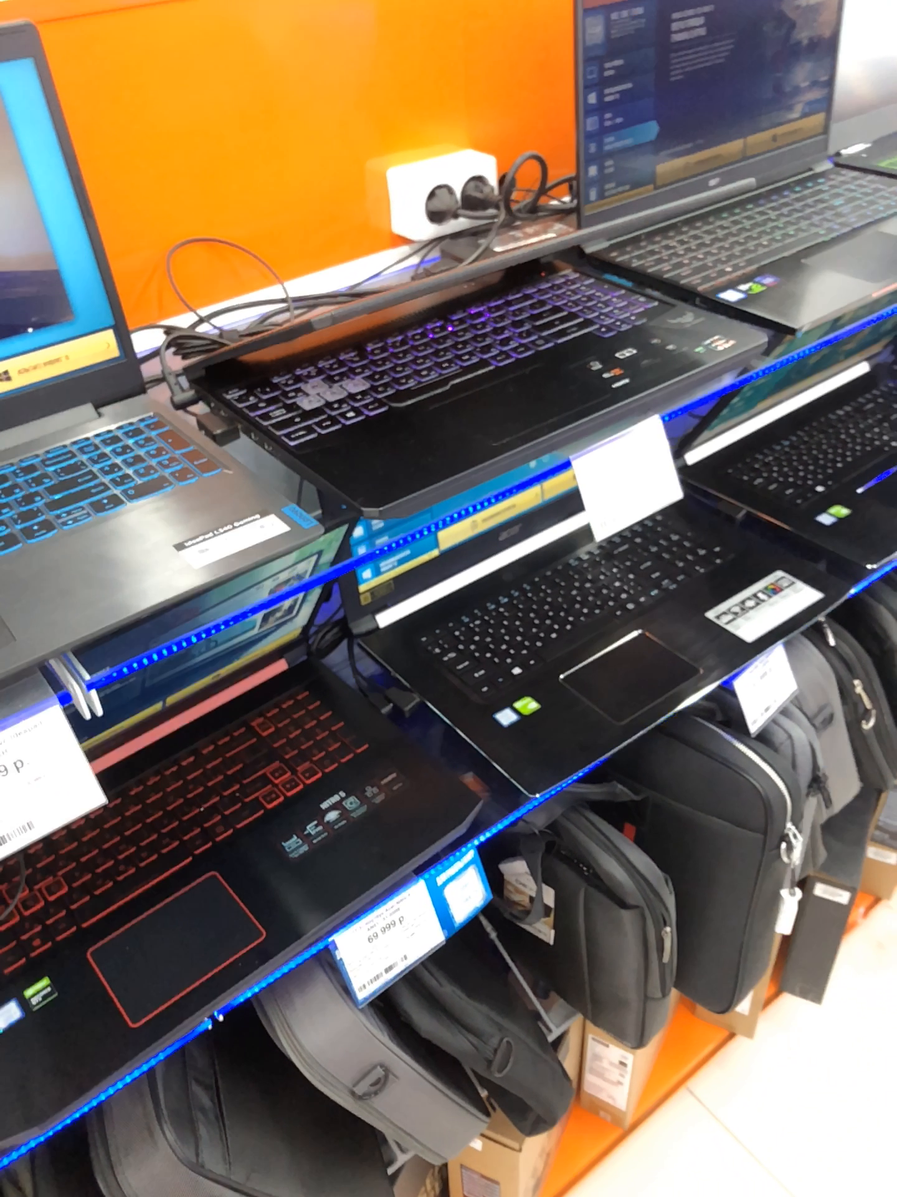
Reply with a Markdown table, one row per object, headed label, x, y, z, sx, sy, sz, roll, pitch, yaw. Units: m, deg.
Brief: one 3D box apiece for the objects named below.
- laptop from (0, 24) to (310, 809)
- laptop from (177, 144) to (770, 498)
| label | x | y | z | sx | sy | sz | roll | pitch | yaw |
| --- | --- | --- | --- | --- | --- | --- | --- | --- | --- |
| laptop | -0.321 | -0.137 | 0.519 | 0.357 | 0.235 | 0.283 | -27 | 42 | -28 |
| laptop | 0.022 | -0.226 | 0.724 | 0.347 | 0.106 | 0.240 | -27 | 42 | -28 |
